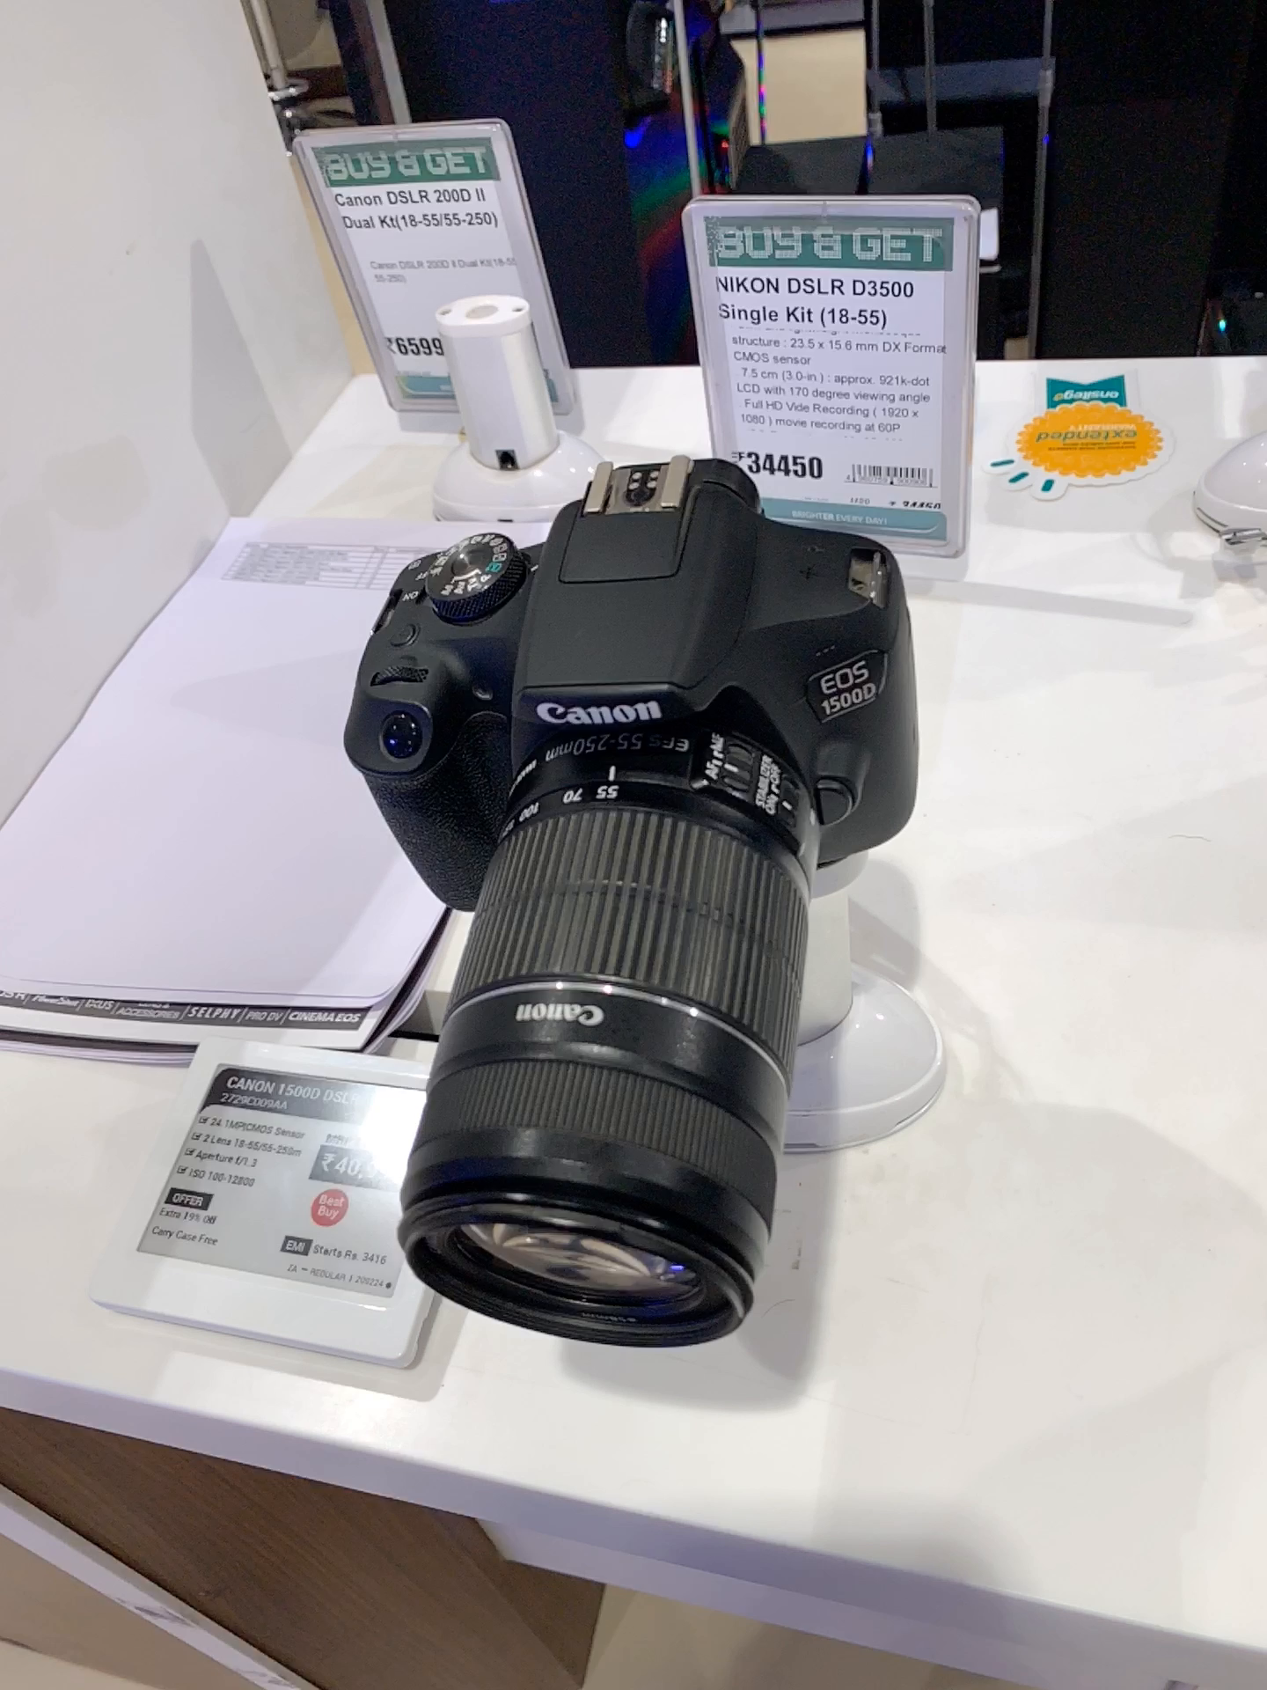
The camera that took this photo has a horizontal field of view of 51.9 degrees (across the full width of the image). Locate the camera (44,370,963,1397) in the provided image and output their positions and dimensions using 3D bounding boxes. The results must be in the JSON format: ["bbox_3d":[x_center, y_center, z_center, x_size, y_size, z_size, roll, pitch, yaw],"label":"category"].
[{"bbox_3d":[0.000,-0.006,0.272,0.130,0.090,0.191,1,47,14],"label":"camera"}]
